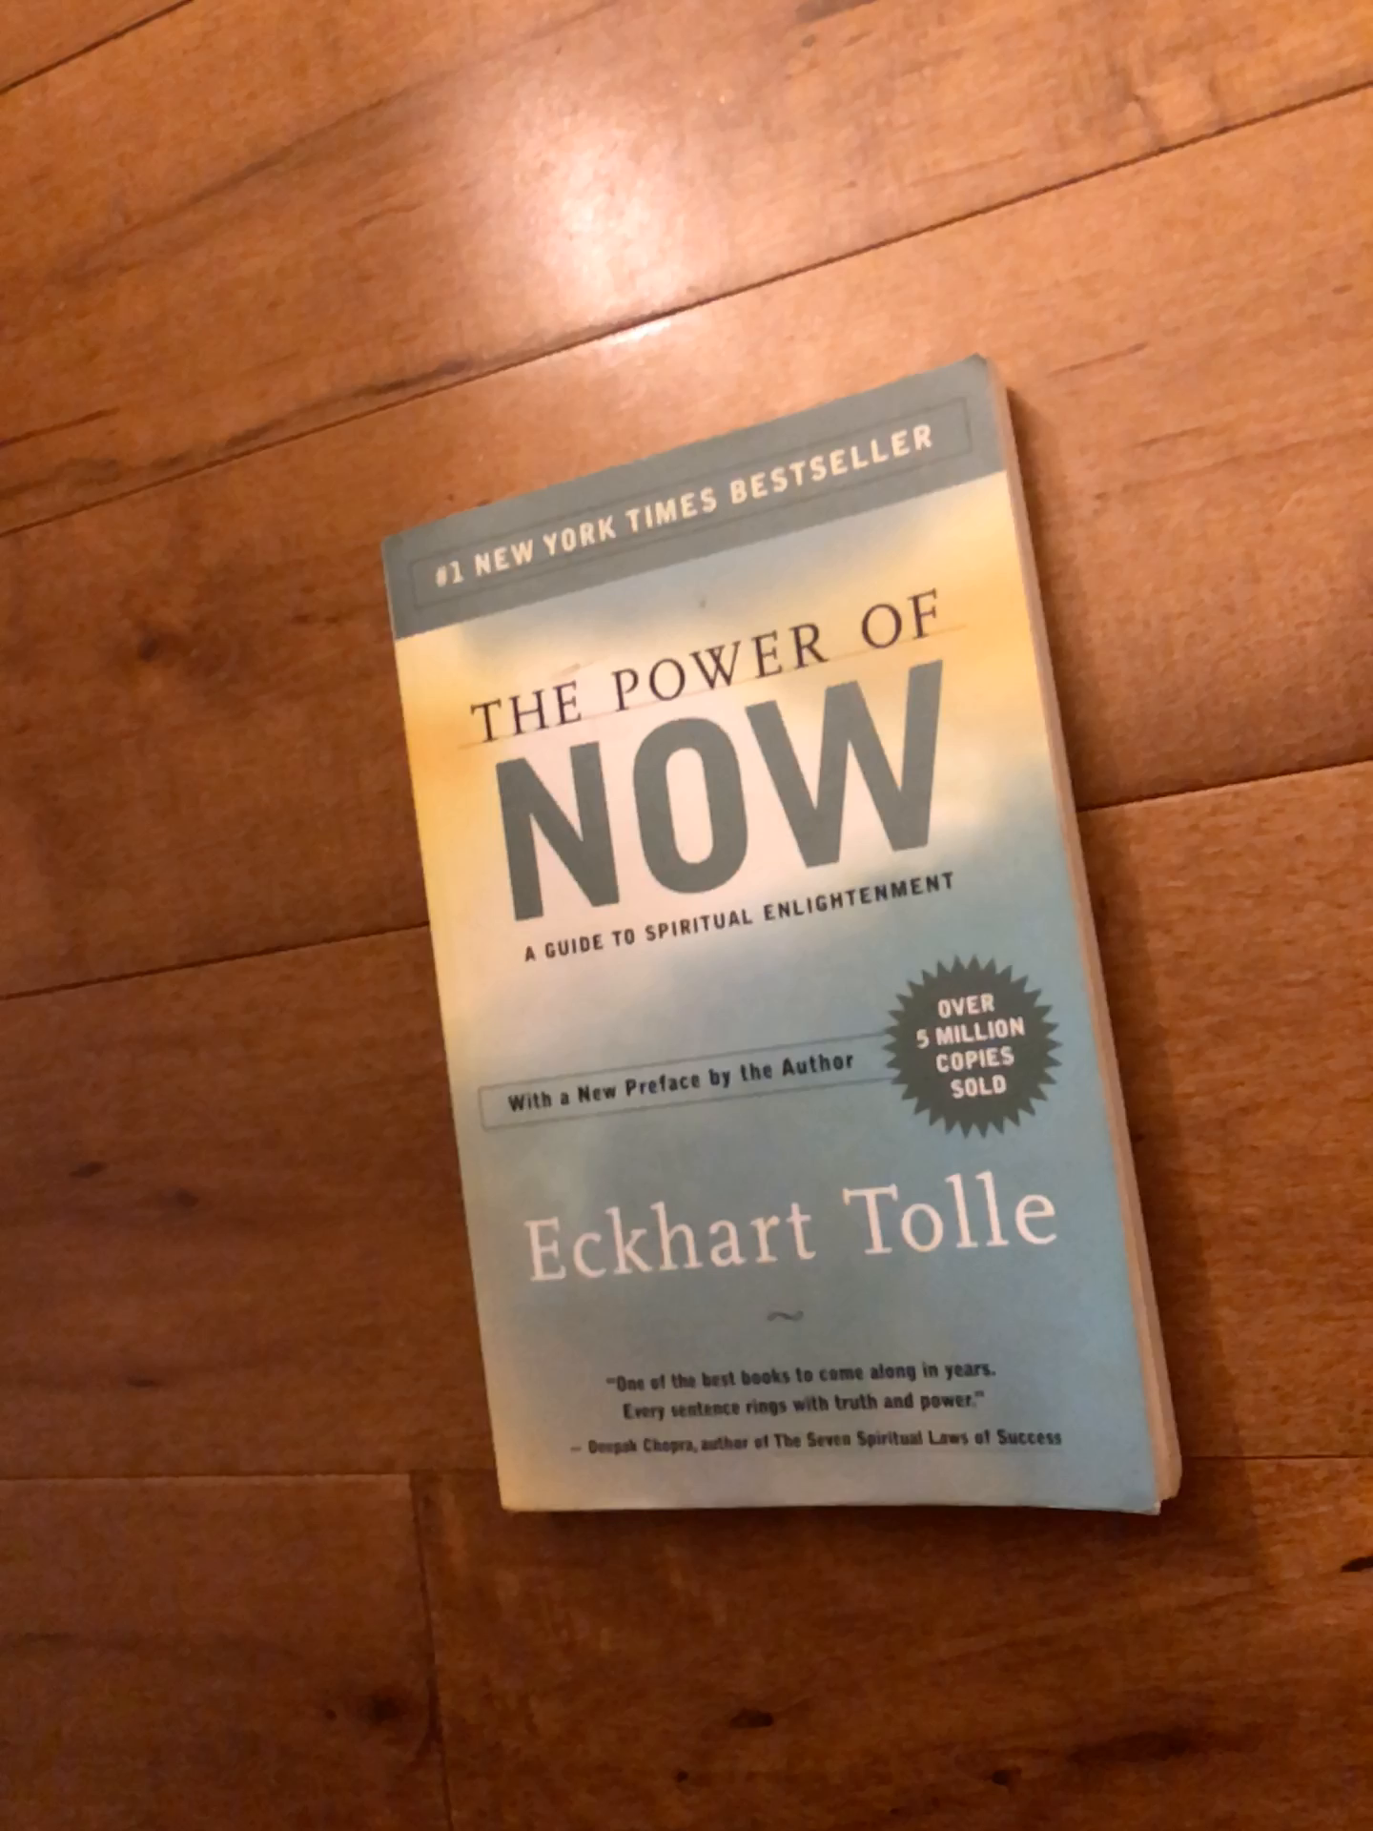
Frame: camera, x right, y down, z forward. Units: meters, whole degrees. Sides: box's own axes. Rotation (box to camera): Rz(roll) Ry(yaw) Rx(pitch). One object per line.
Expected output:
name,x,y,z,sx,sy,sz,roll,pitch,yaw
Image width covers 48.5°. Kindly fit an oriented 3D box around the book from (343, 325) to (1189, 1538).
book,0.009,0.010,0.318,0.146,0.030,0.222,-10,83,23
